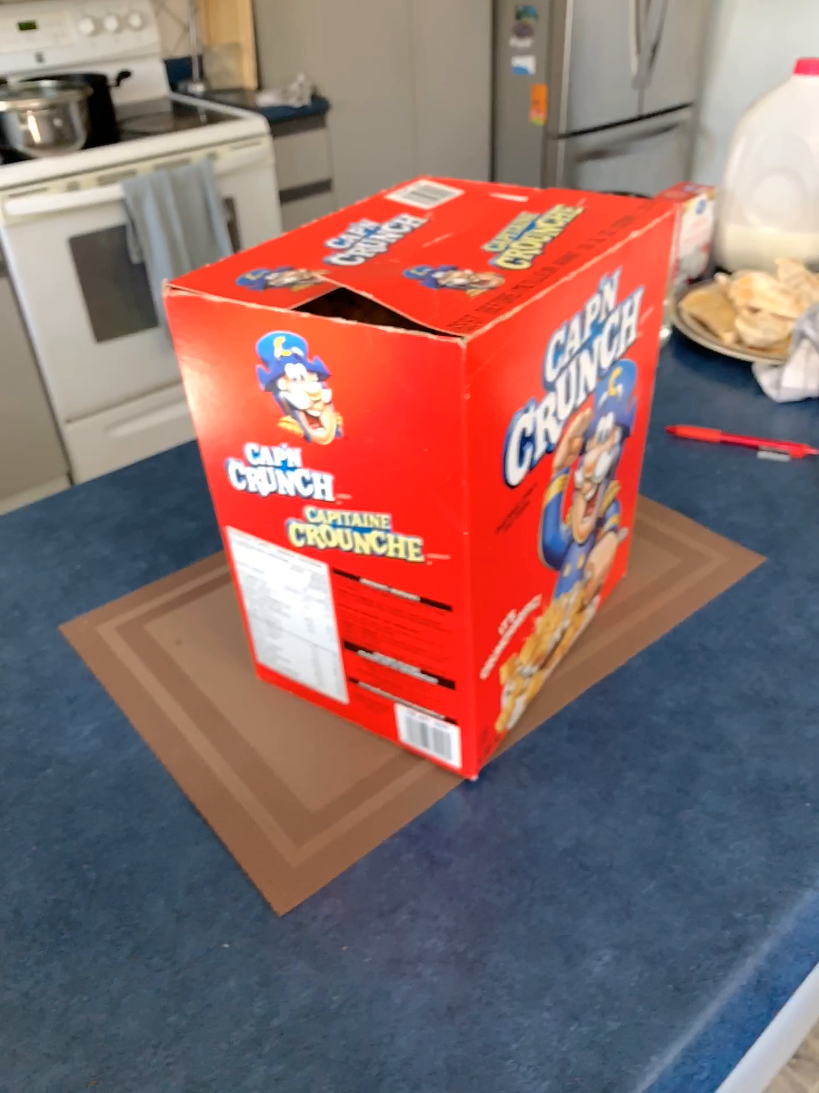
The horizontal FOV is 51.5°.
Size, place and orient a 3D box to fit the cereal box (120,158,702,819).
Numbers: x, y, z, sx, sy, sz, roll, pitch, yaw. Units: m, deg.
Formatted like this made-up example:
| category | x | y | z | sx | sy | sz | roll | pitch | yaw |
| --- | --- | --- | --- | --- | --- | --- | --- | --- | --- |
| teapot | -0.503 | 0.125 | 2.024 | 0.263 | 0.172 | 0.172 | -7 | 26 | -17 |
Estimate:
| category | x | y | z | sx | sy | sz | roll | pitch | yaw |
| --- | --- | --- | --- | --- | --- | --- | --- | --- | --- |
| cereal box | 0.021 | -0.059 | 0.560 | 0.211 | 0.297 | 0.272 | 20 | 42 | 28 |
